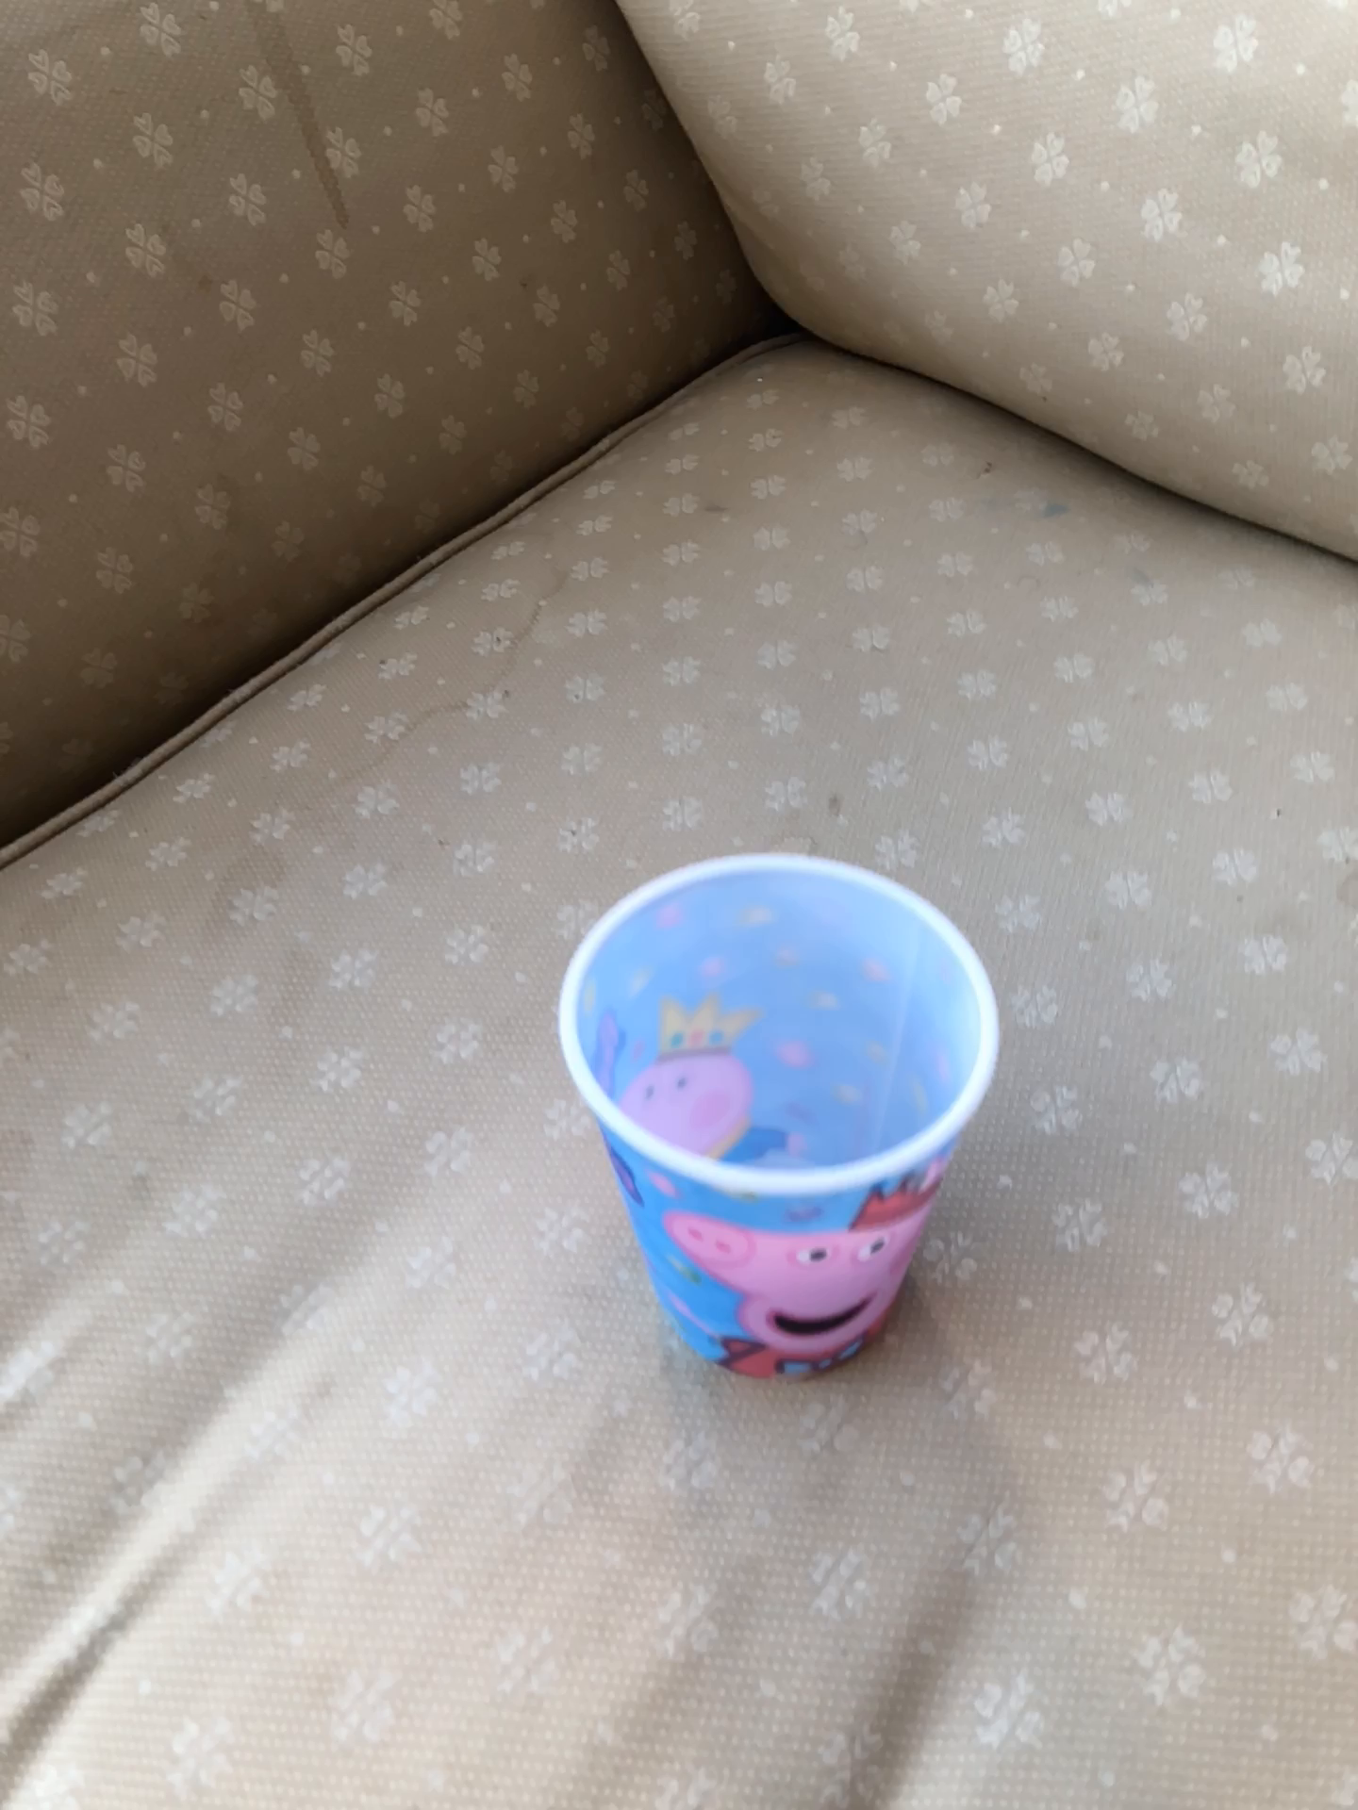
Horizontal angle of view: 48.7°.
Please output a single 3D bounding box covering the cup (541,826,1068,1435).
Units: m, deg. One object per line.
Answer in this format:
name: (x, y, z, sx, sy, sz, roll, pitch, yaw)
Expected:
cup: (0.023, 0.053, 0.344, 0.091, 0.101, 0.087, -1, 51, 1)
